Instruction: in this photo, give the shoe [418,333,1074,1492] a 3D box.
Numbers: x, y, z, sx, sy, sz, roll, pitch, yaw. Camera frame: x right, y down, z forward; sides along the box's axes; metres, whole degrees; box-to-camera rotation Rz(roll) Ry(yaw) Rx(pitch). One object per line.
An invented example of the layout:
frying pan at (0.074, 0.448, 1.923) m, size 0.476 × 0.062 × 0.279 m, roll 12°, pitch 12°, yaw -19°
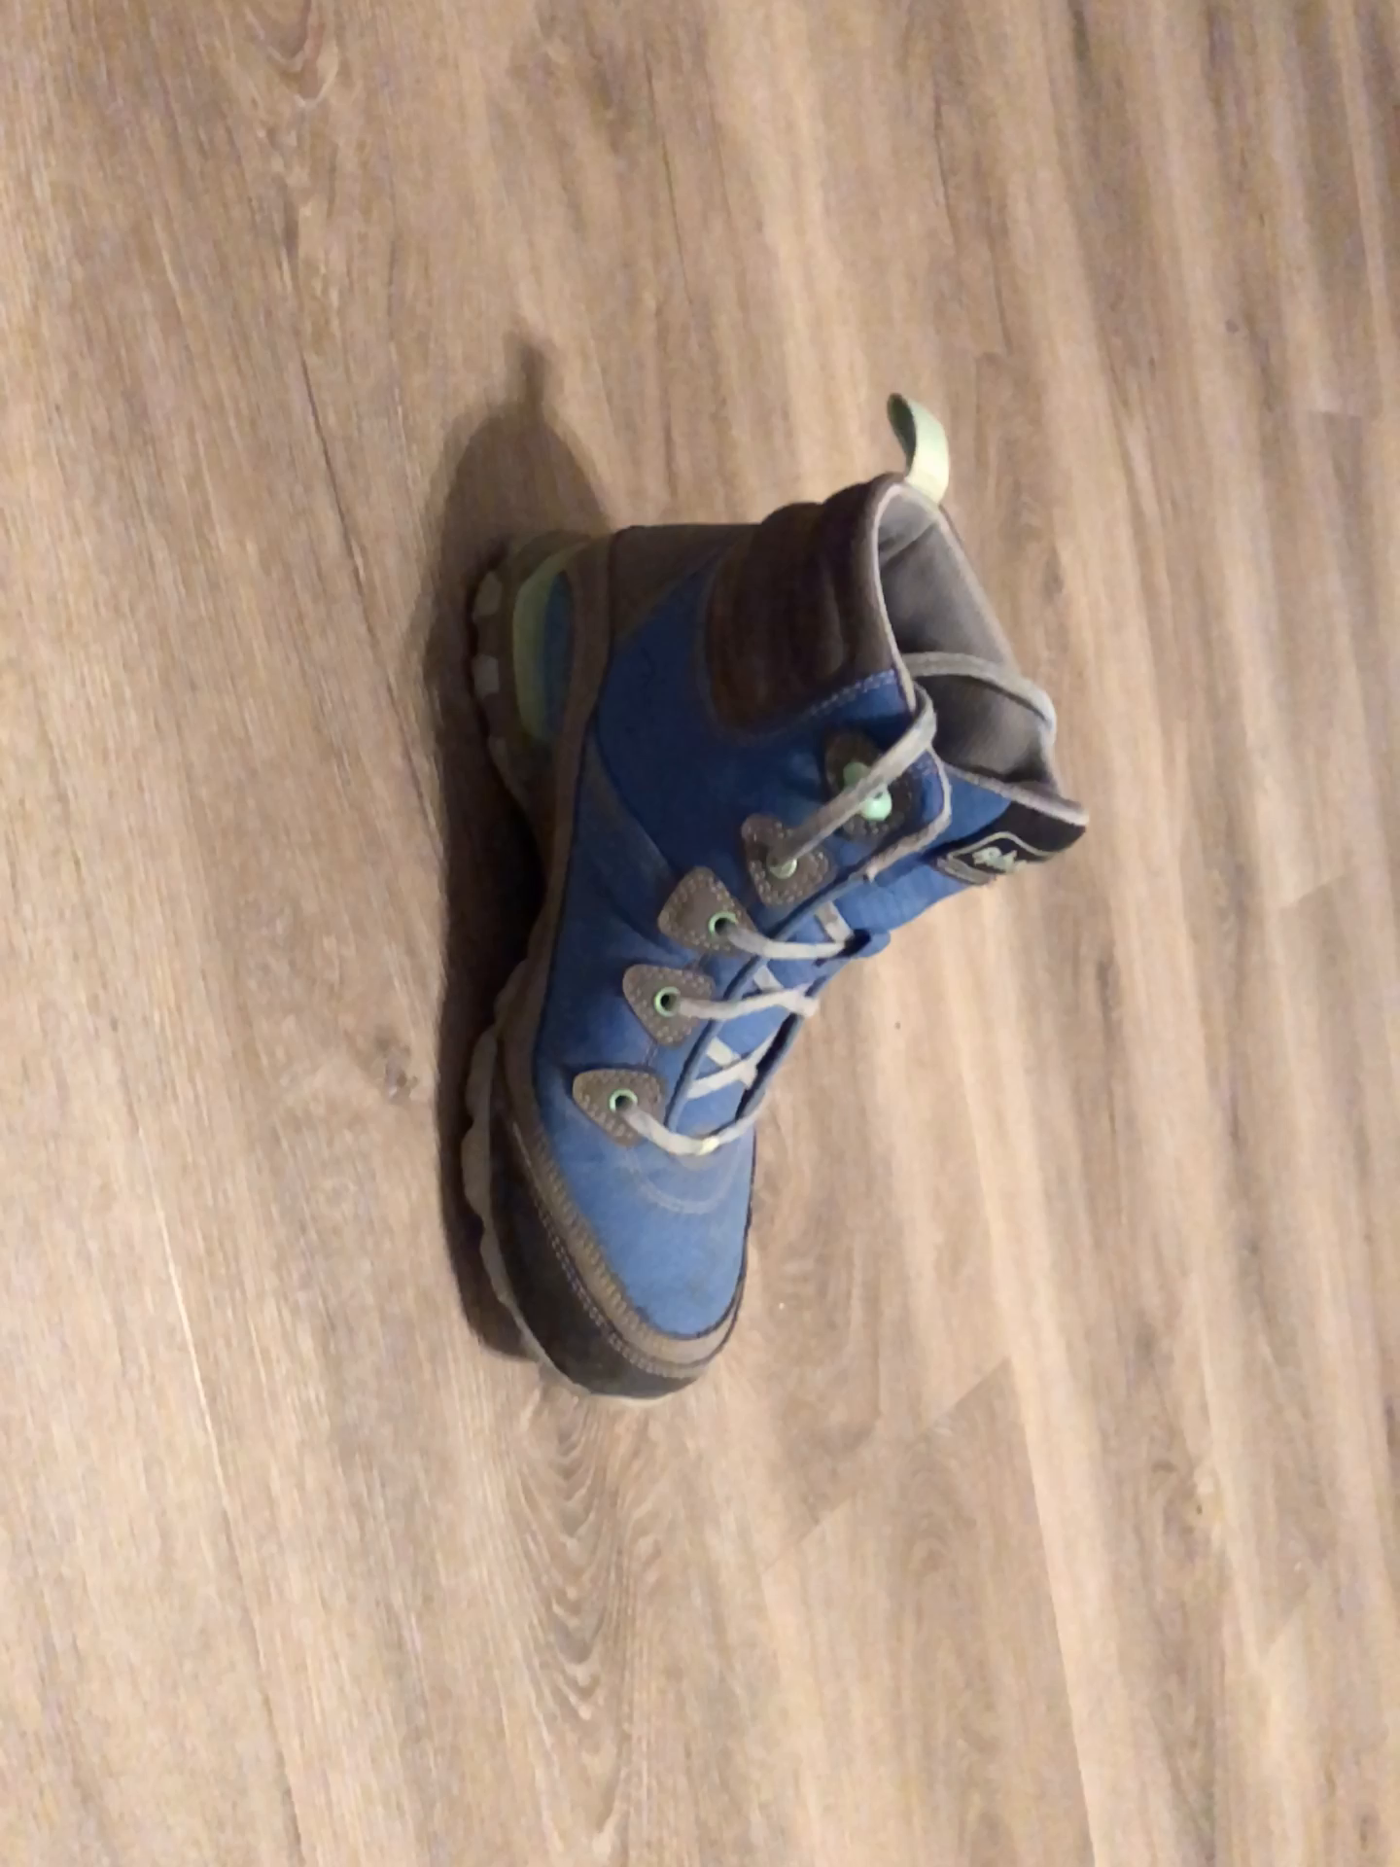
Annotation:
shoe at (0.009, -0.001, 0.416) m, size 0.101 × 0.139 × 0.250 m, roll 5°, pitch 83°, yaw -50°
